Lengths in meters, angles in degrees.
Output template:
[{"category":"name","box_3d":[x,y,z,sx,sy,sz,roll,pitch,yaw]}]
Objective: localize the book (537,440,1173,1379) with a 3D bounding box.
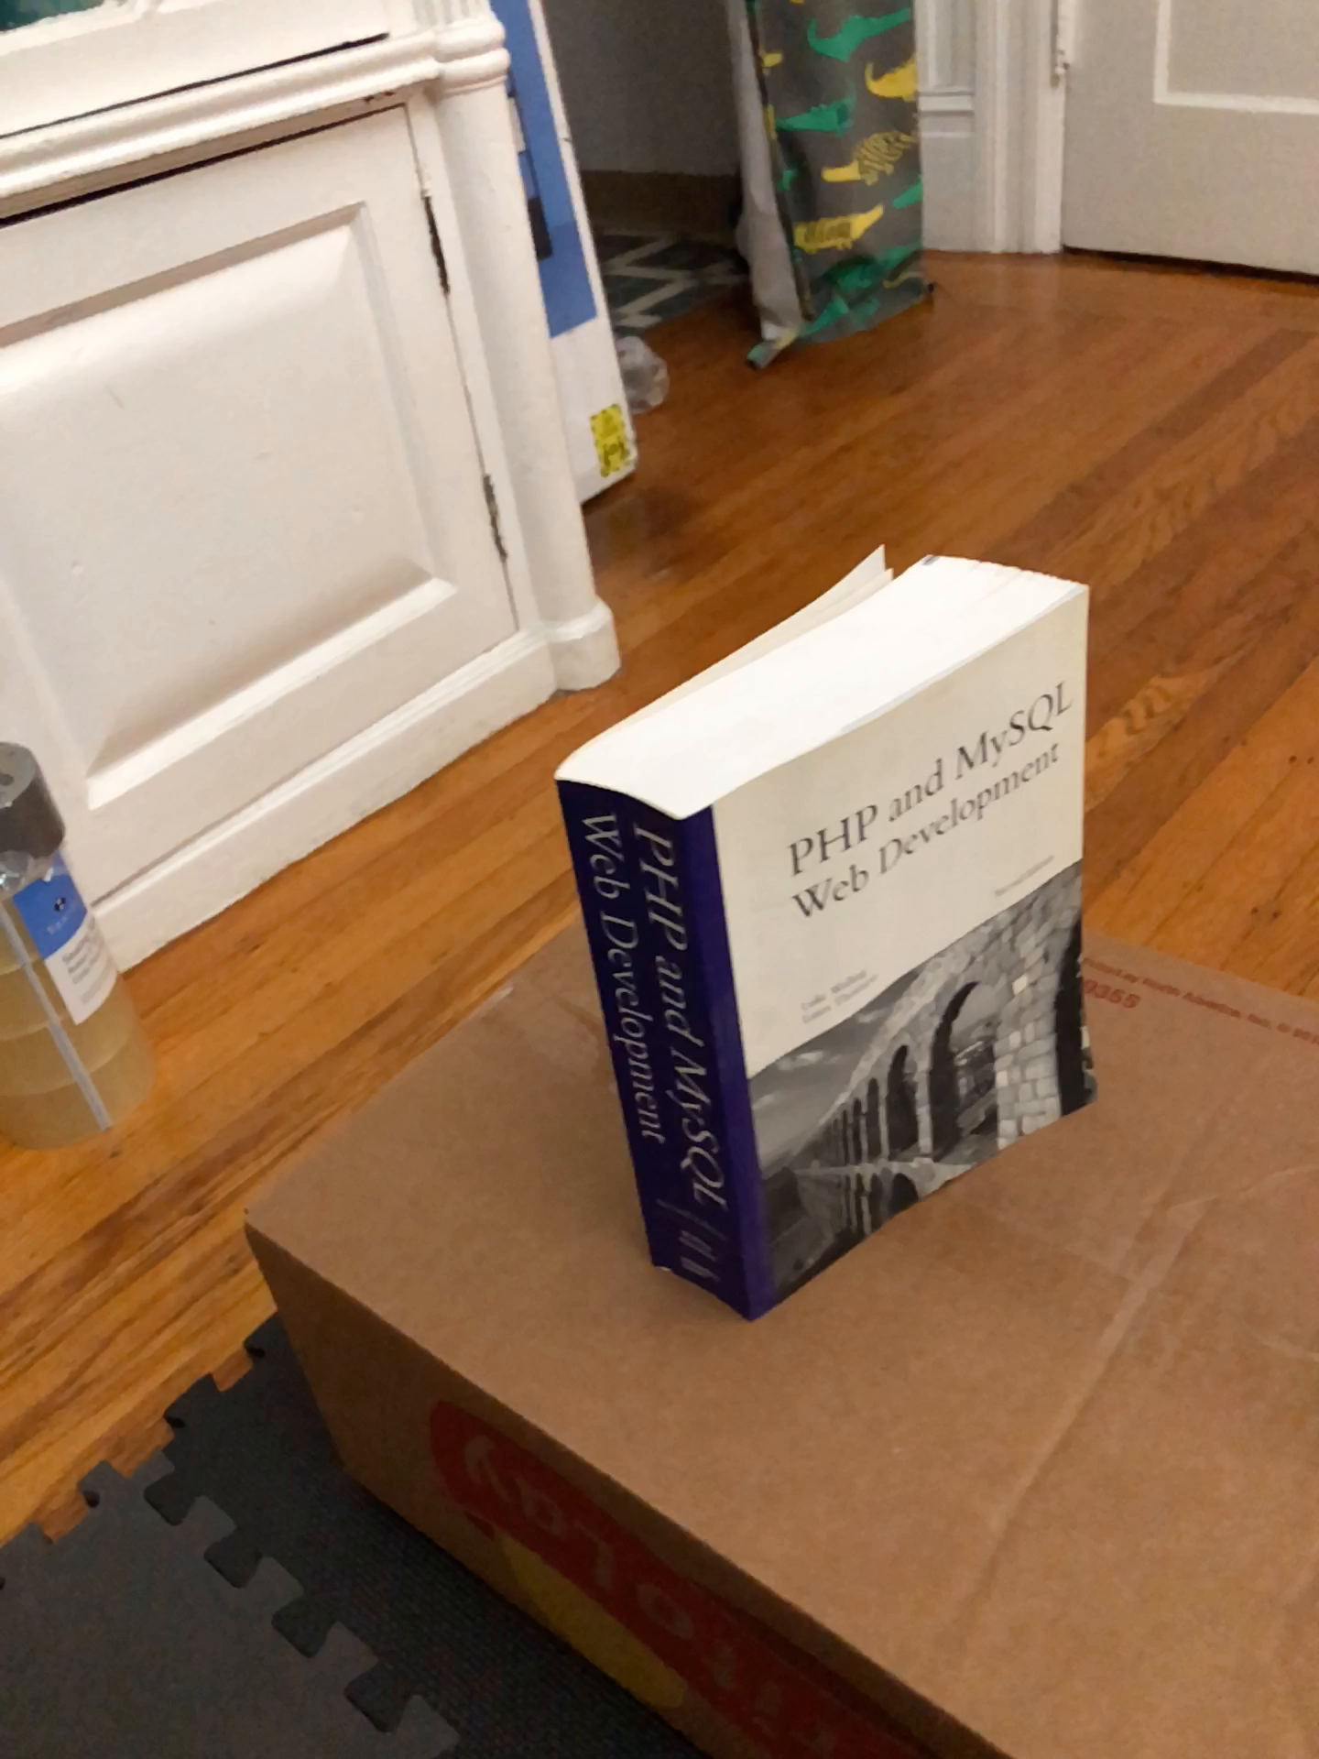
[{"category":"book","box_3d":[0.080,0.010,0.523,0.090,0.258,0.201,26,48,37]}]
